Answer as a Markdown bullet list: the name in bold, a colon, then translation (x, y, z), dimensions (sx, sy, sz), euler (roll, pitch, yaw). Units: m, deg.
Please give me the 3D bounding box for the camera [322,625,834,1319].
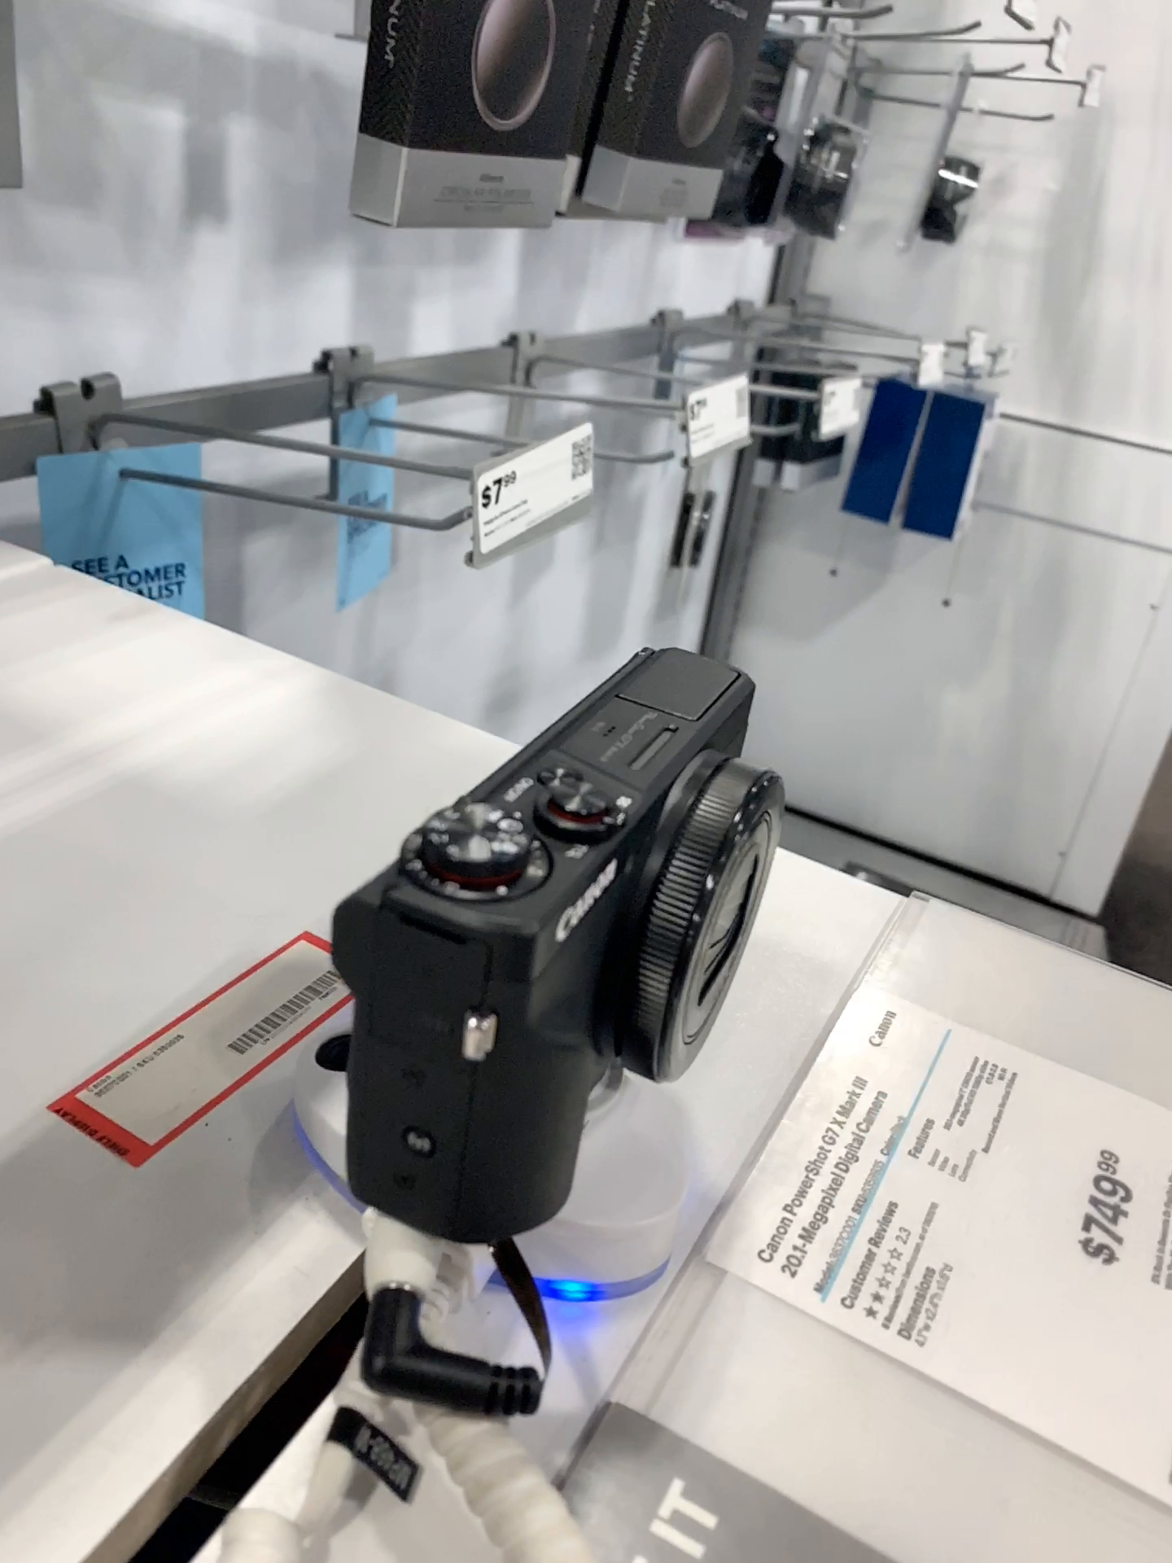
- **camera**: translation (0.004, 0.022, 0.210), dimensions (0.040, 0.062, 0.110), euler (18, 29, 17)
